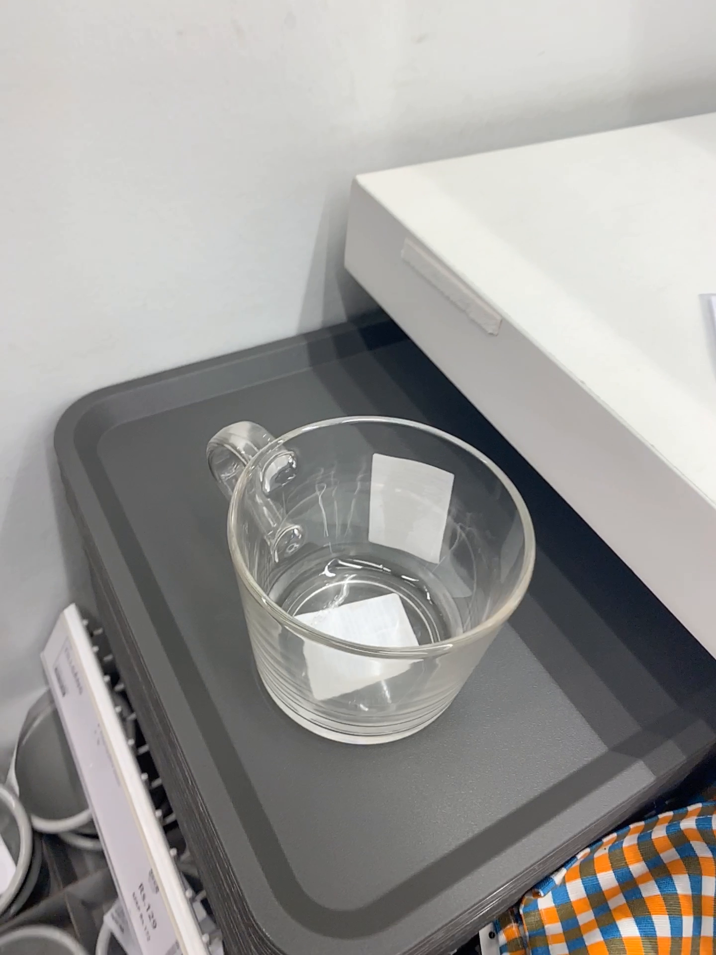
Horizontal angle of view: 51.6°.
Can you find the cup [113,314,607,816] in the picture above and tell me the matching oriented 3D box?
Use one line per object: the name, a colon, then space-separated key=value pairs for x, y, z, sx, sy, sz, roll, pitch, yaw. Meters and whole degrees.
cup: x=-0.006 y=0.022 z=0.267 sx=0.100 sy=0.080 sz=0.130 roll=-28 pitch=57 yaw=-30
